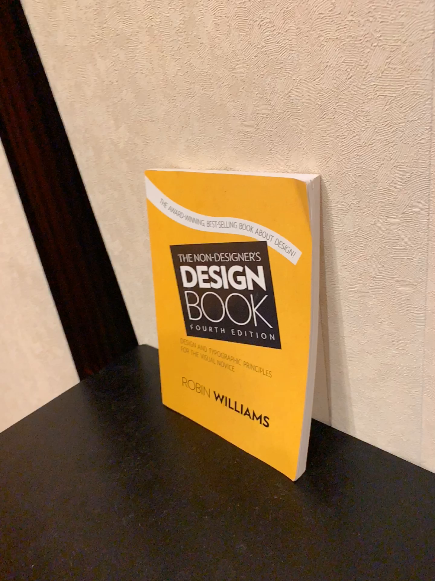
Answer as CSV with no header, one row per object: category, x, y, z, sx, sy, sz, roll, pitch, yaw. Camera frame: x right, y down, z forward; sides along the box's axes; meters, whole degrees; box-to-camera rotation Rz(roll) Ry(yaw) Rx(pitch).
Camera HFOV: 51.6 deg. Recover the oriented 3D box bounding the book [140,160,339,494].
book,0.008,0.020,0.405,0.030,0.259,0.191,-18,25,-42
